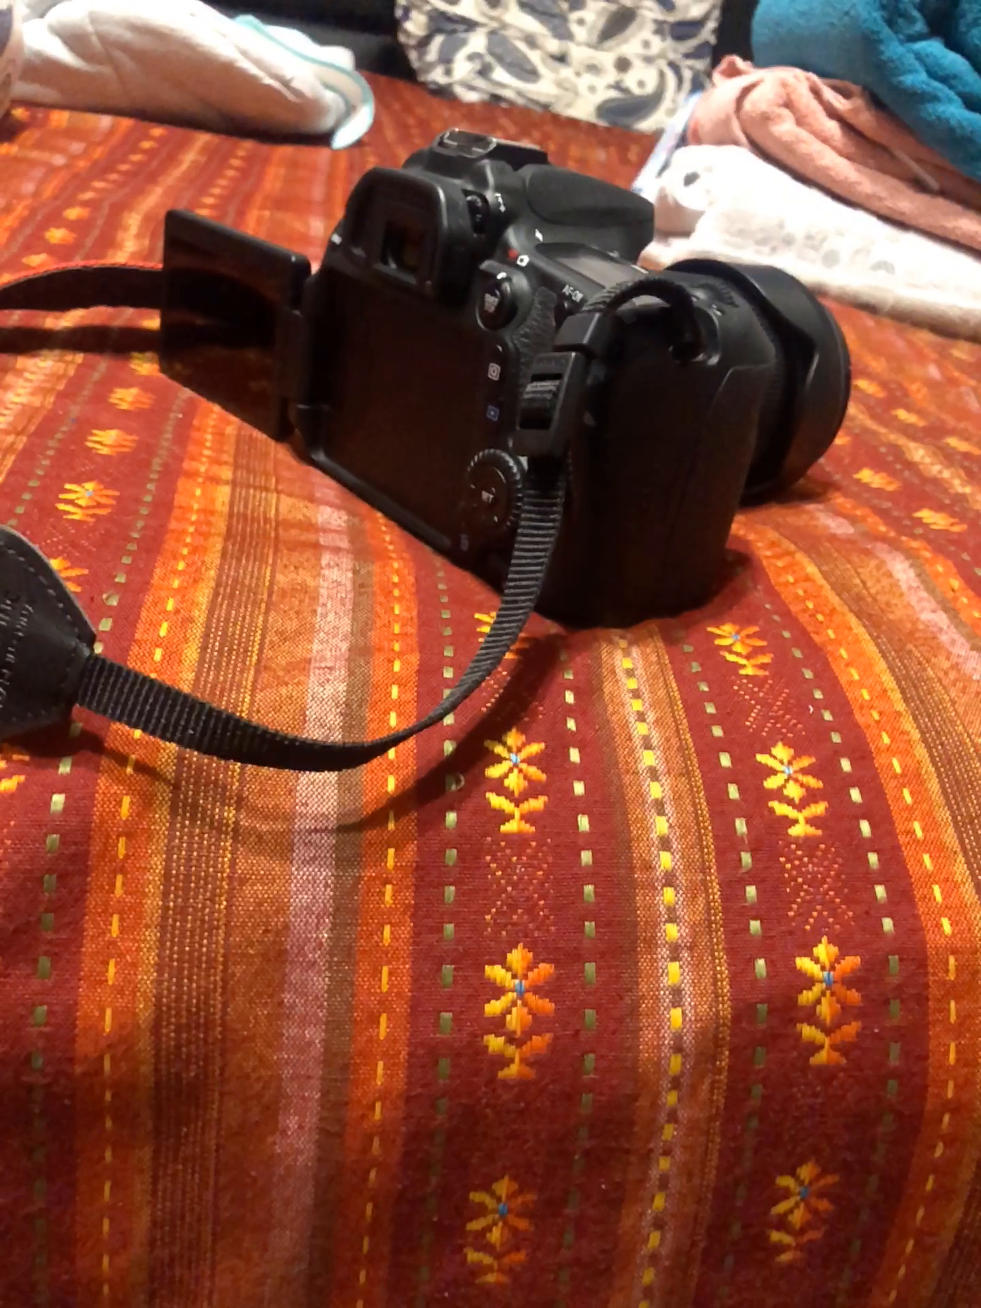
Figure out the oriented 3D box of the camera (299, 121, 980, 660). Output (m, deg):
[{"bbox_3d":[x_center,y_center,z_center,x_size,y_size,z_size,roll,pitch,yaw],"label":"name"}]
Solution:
[{"bbox_3d":[0.052,-0.093,0.341,0.171,0.099,0.130,-19,42,-40],"label":"camera"}]
